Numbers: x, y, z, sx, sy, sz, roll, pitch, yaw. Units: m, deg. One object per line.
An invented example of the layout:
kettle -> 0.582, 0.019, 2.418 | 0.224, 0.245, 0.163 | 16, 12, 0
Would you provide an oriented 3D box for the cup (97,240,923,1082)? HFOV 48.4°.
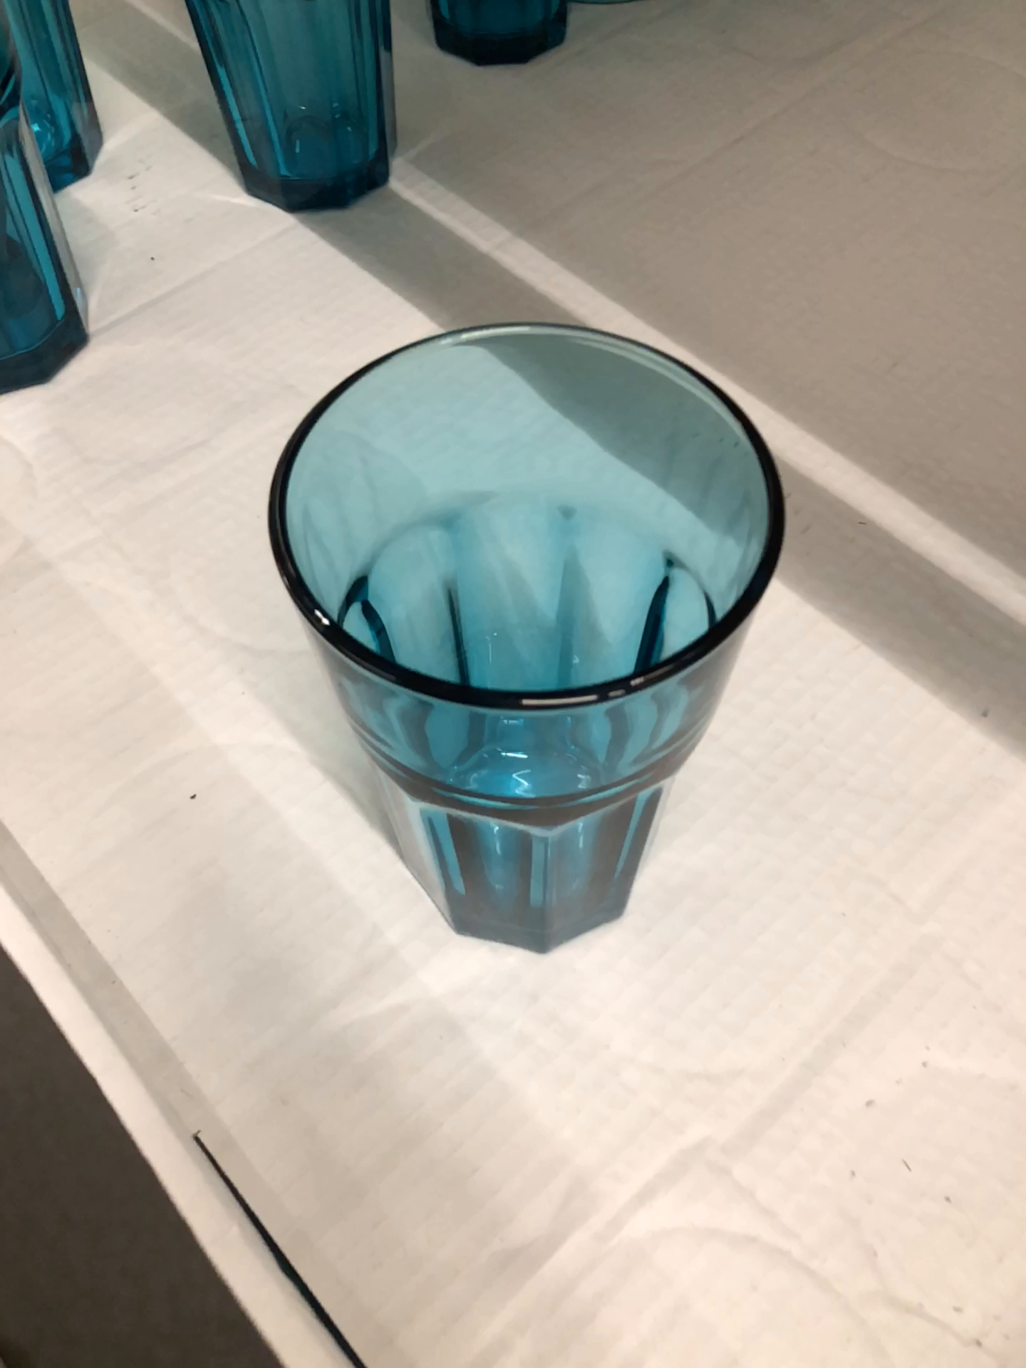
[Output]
cup -> -0.002, 0.000, 0.218 | 0.092, 0.102, 0.089 | -1, 59, 1
